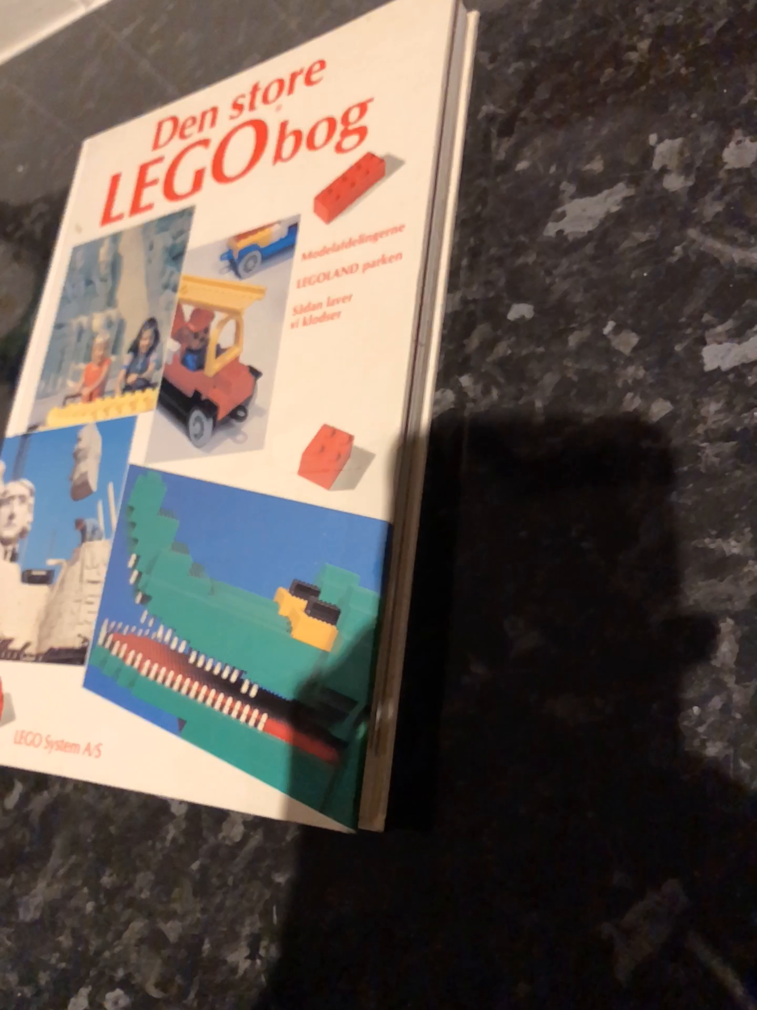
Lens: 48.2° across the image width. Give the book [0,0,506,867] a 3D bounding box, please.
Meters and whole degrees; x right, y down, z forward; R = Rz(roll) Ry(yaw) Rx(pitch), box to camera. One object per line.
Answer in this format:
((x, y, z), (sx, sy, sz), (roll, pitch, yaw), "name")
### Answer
((-0.068, -0.042, 0.312), (0.210, 0.030, 0.290), (-3, 70, 33), "book")
